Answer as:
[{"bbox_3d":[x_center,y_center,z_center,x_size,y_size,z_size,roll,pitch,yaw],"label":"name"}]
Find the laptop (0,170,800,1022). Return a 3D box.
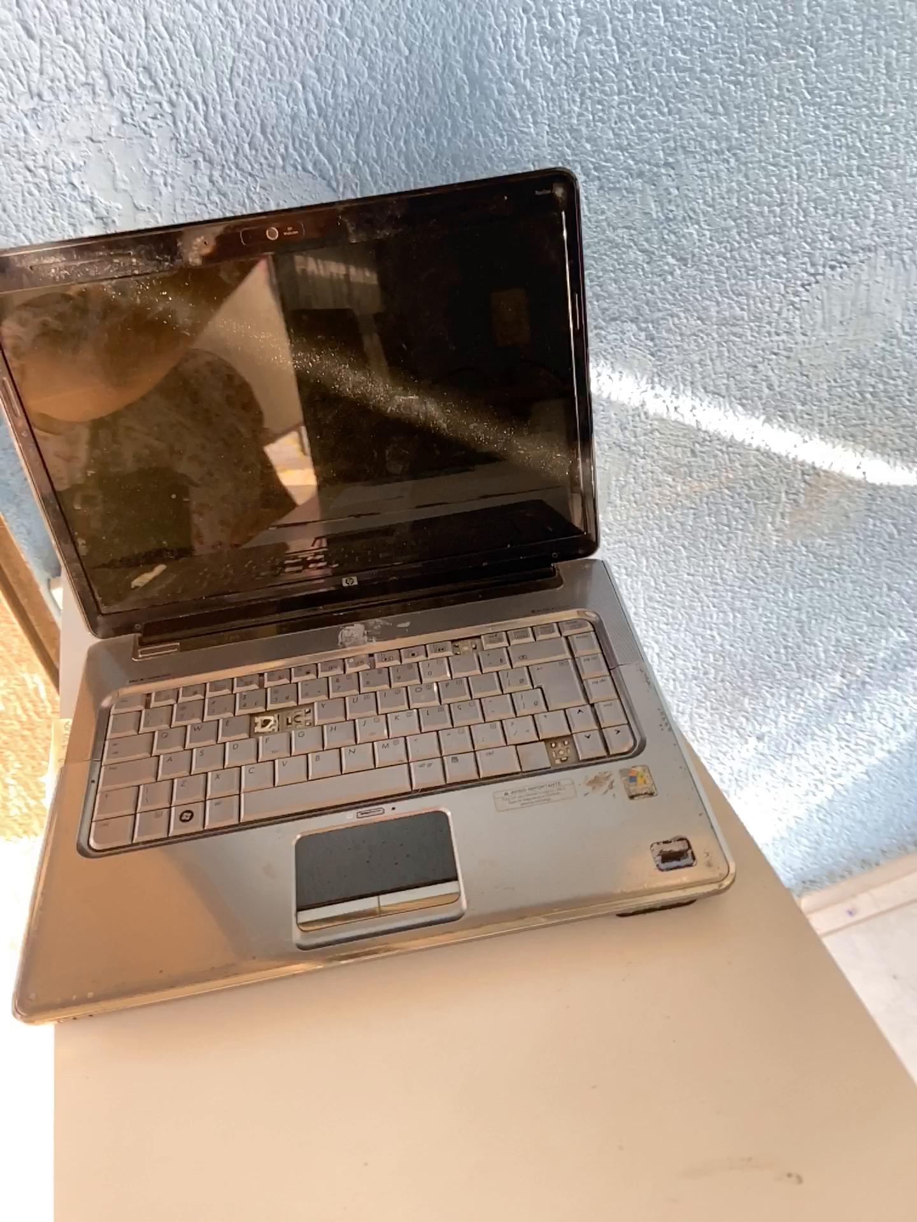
[{"bbox_3d":[-0.074,-0.033,0.496,0.351,0.233,0.330,-10,42,-3],"label":"laptop"}]
